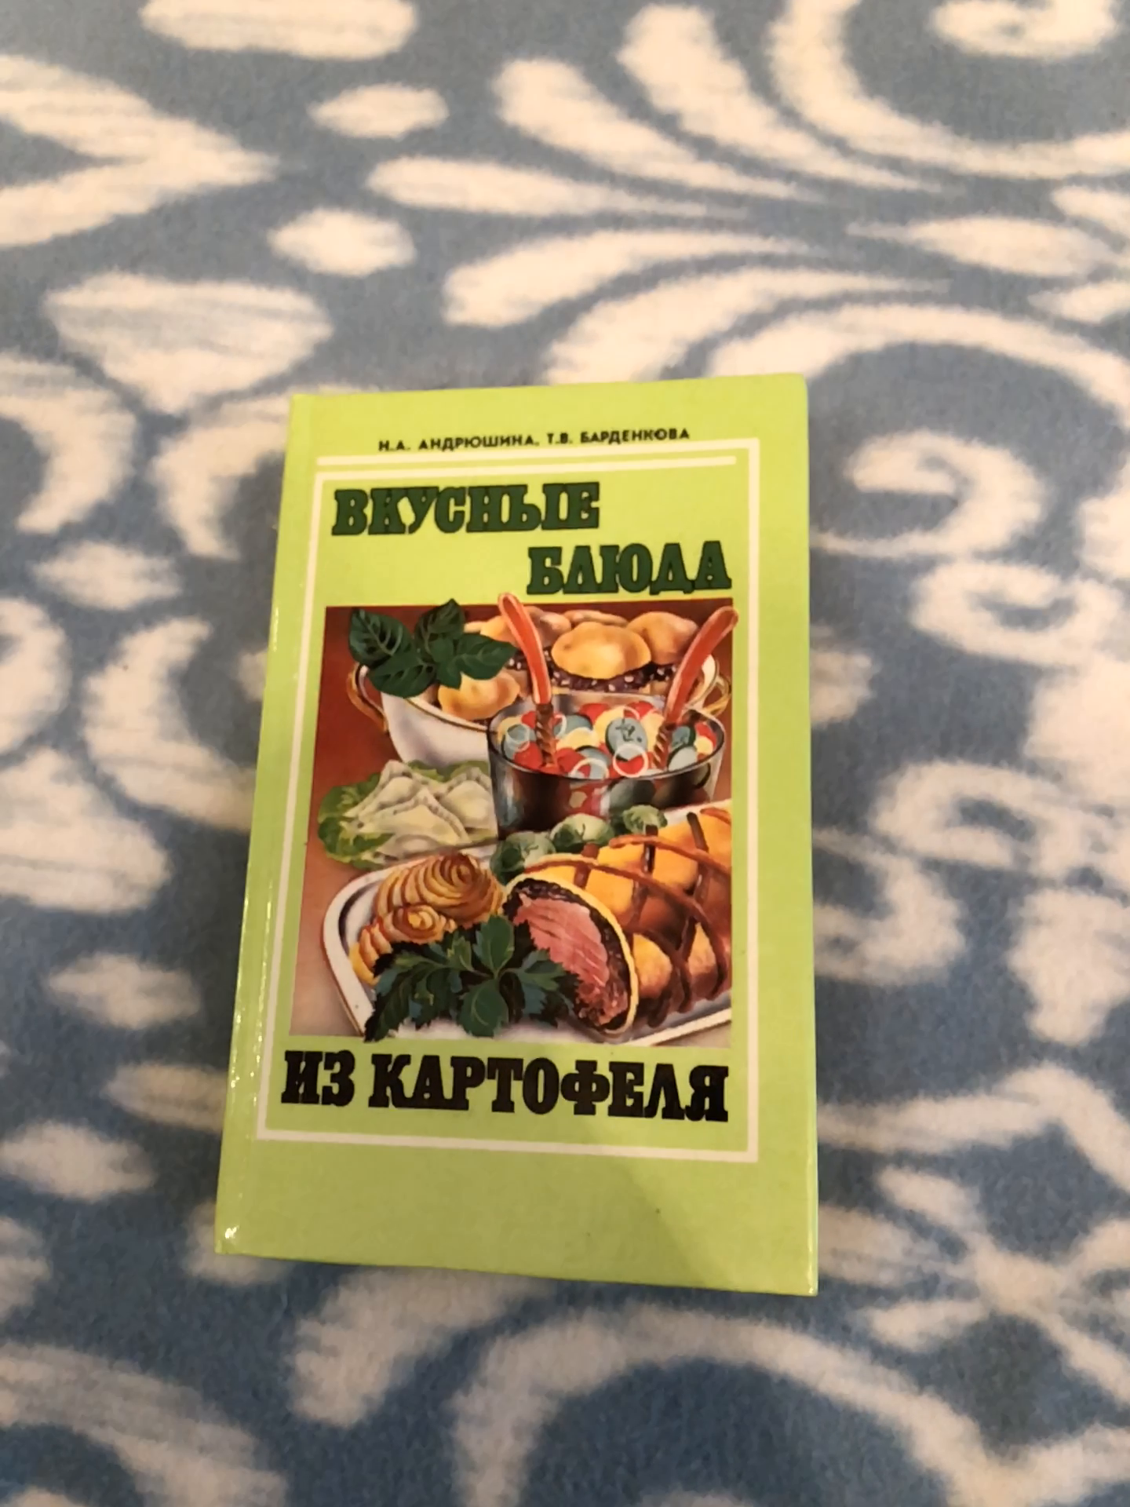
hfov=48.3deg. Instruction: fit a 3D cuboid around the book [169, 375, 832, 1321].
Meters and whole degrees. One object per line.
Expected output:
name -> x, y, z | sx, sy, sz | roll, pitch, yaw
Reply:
book -> -0.010, 0.014, 0.288 | 0.135, 0.025, 0.201 | 0, 76, 9
